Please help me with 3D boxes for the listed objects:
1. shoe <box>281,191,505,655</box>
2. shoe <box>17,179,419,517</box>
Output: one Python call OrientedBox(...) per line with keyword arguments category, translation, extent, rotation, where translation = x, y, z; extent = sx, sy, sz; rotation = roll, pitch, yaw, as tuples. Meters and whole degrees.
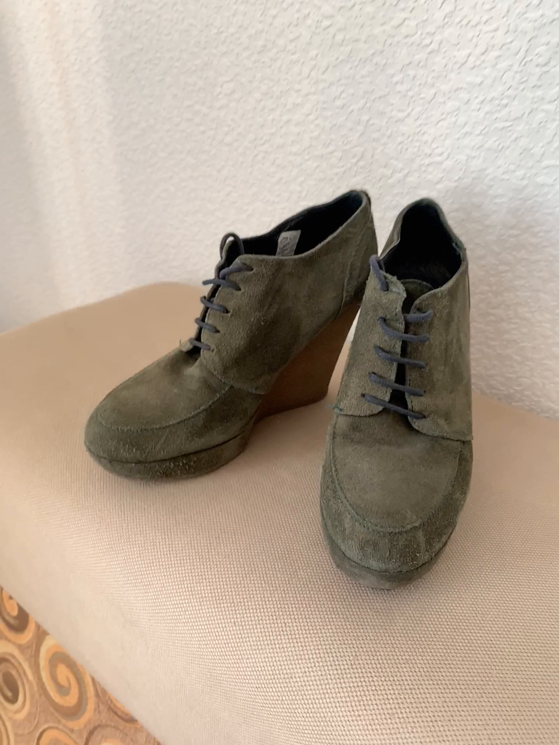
OrientedBox(category="shoe", translation=(0.082, -0.001, 0.357), extent=(0.080, 0.139, 0.271), rotation=(11, 35, 15))
OrientedBox(category="shoe", translation=(-0.027, -0.031, 0.383), extent=(0.229, 0.136, 0.087), rotation=(-23, 40, -31))
